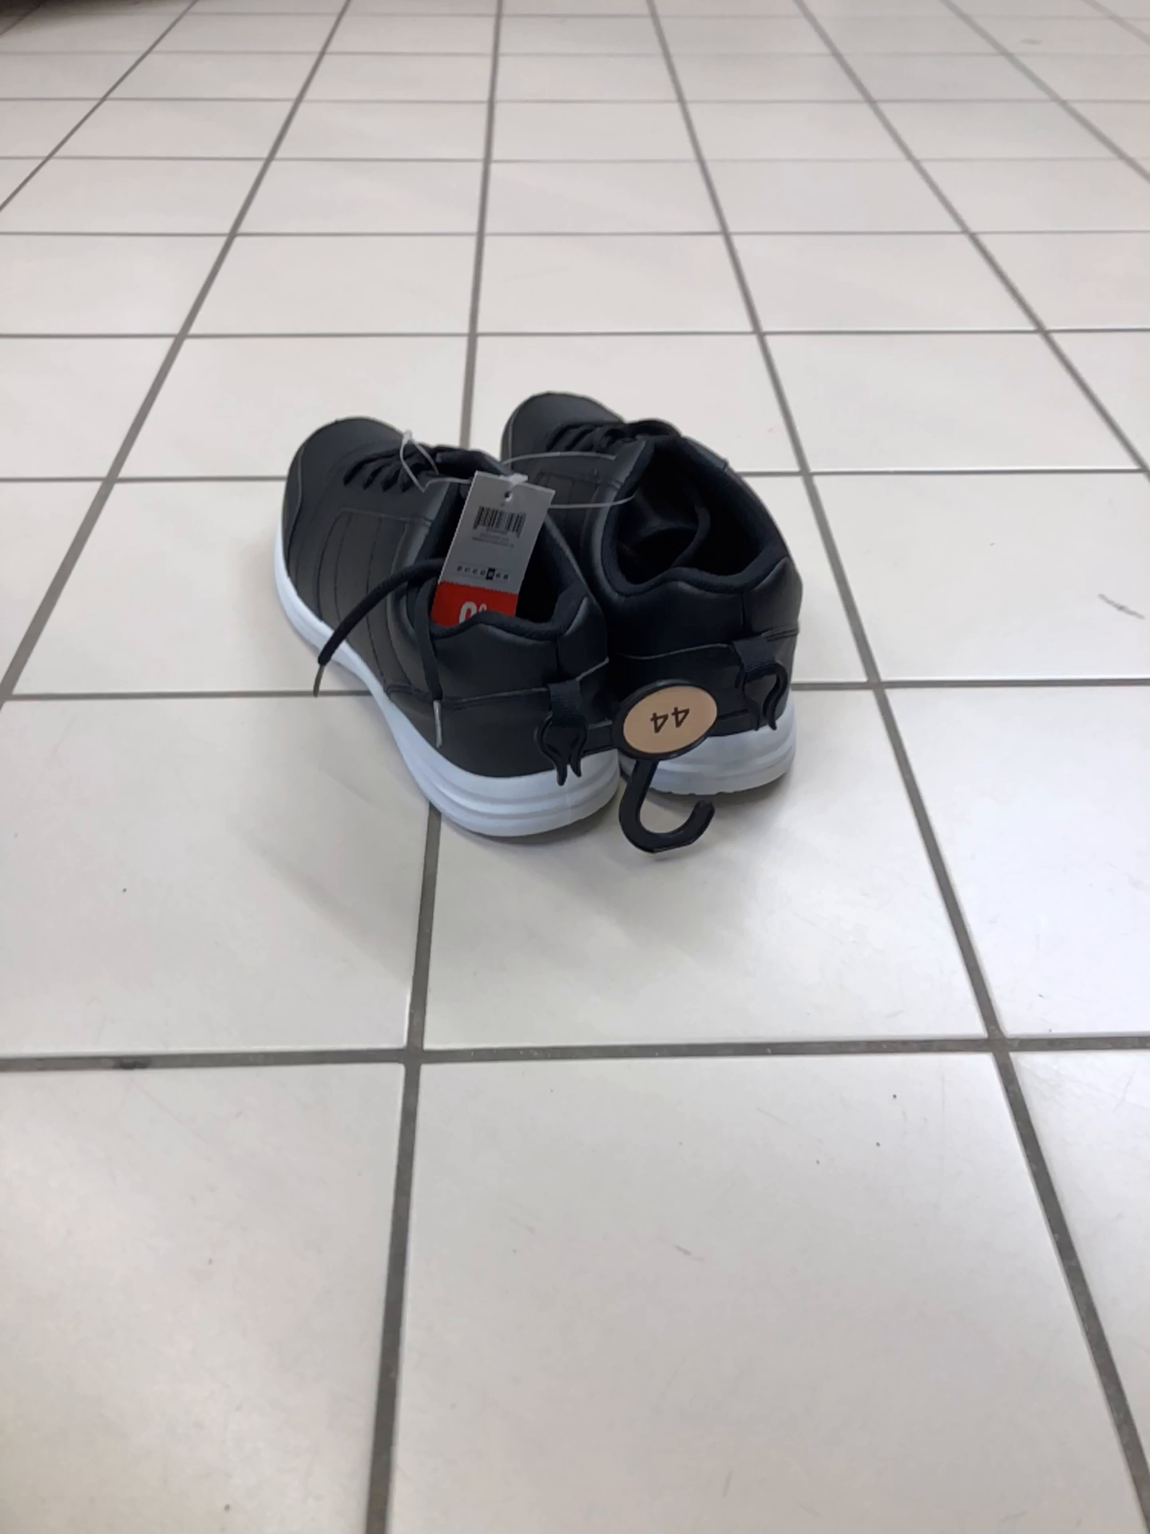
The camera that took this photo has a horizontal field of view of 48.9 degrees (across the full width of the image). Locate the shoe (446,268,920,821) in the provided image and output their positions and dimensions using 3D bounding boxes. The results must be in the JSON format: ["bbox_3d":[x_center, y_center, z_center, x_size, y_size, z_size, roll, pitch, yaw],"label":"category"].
[{"bbox_3d":[0.032,-0.125,0.610,0.110,0.119,0.291,-13,43,-14],"label":"shoe"}]

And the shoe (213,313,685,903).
[{"bbox_3d":[-0.070,-0.092,0.588,0.110,0.119,0.291,-17,44,-19],"label":"shoe"}]
